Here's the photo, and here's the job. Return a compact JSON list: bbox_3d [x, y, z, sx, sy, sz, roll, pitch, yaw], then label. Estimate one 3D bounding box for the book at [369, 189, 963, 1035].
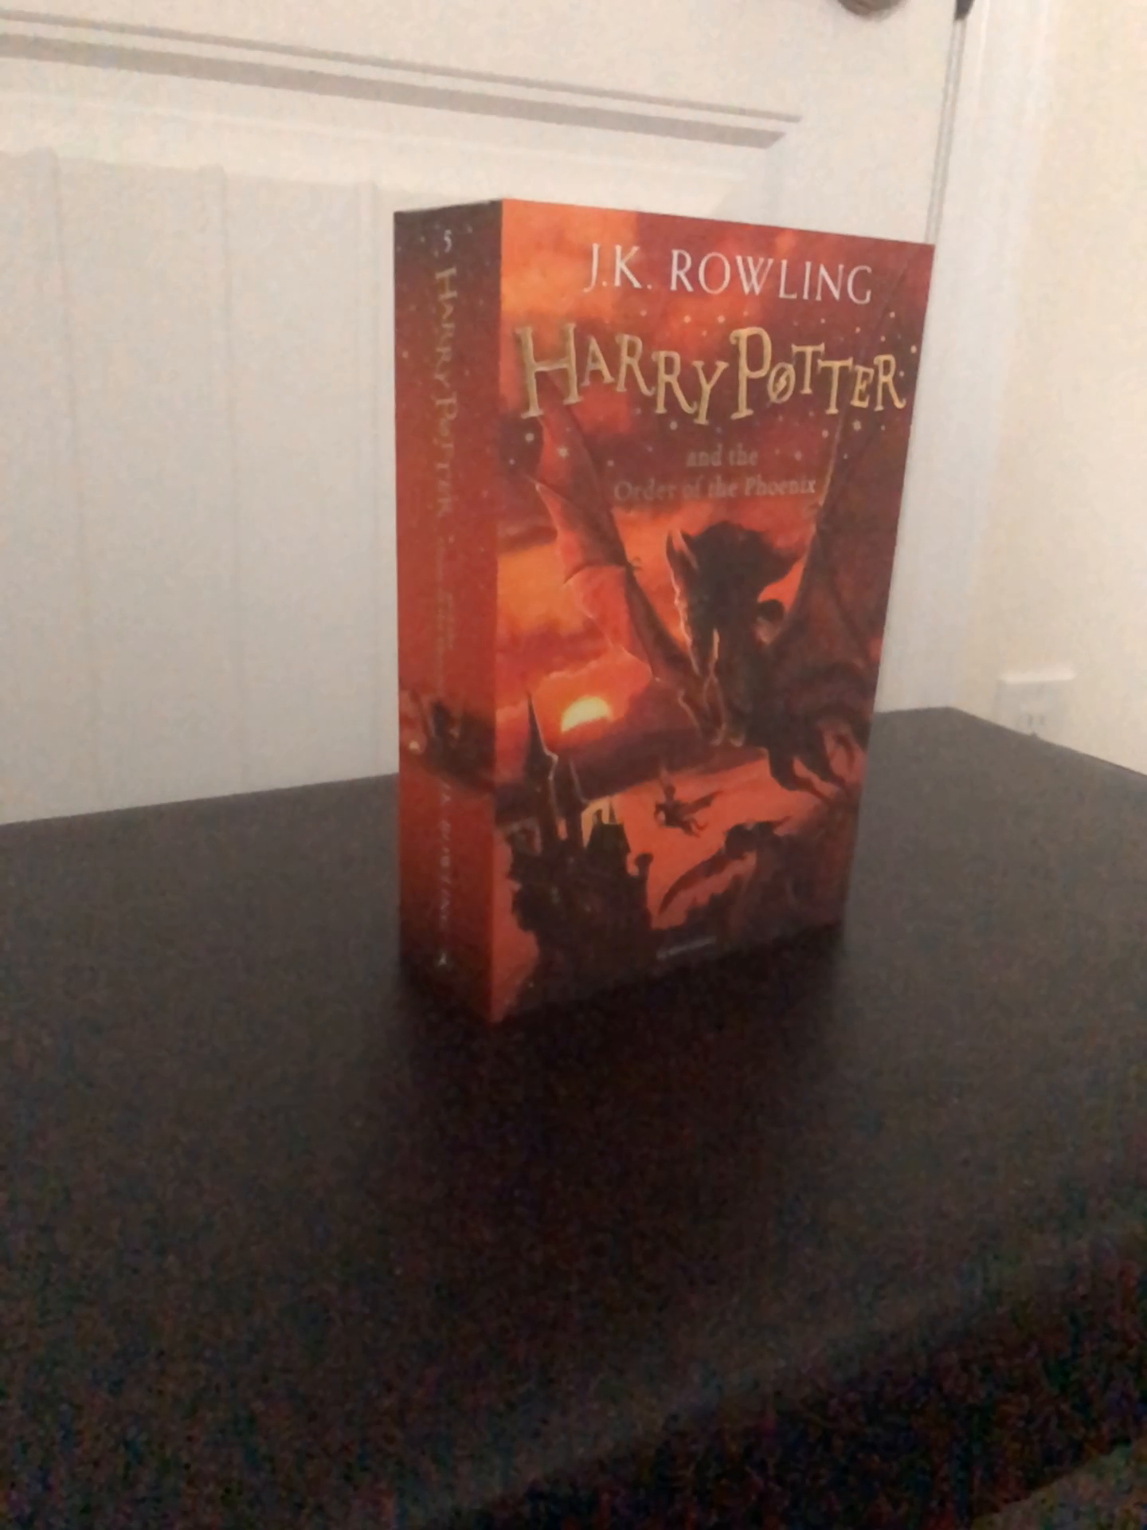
[{"bbox_3d":[0.022,-0.043,0.344,0.141,0.189,0.061,-10,22,-35],"label":"book"}]
